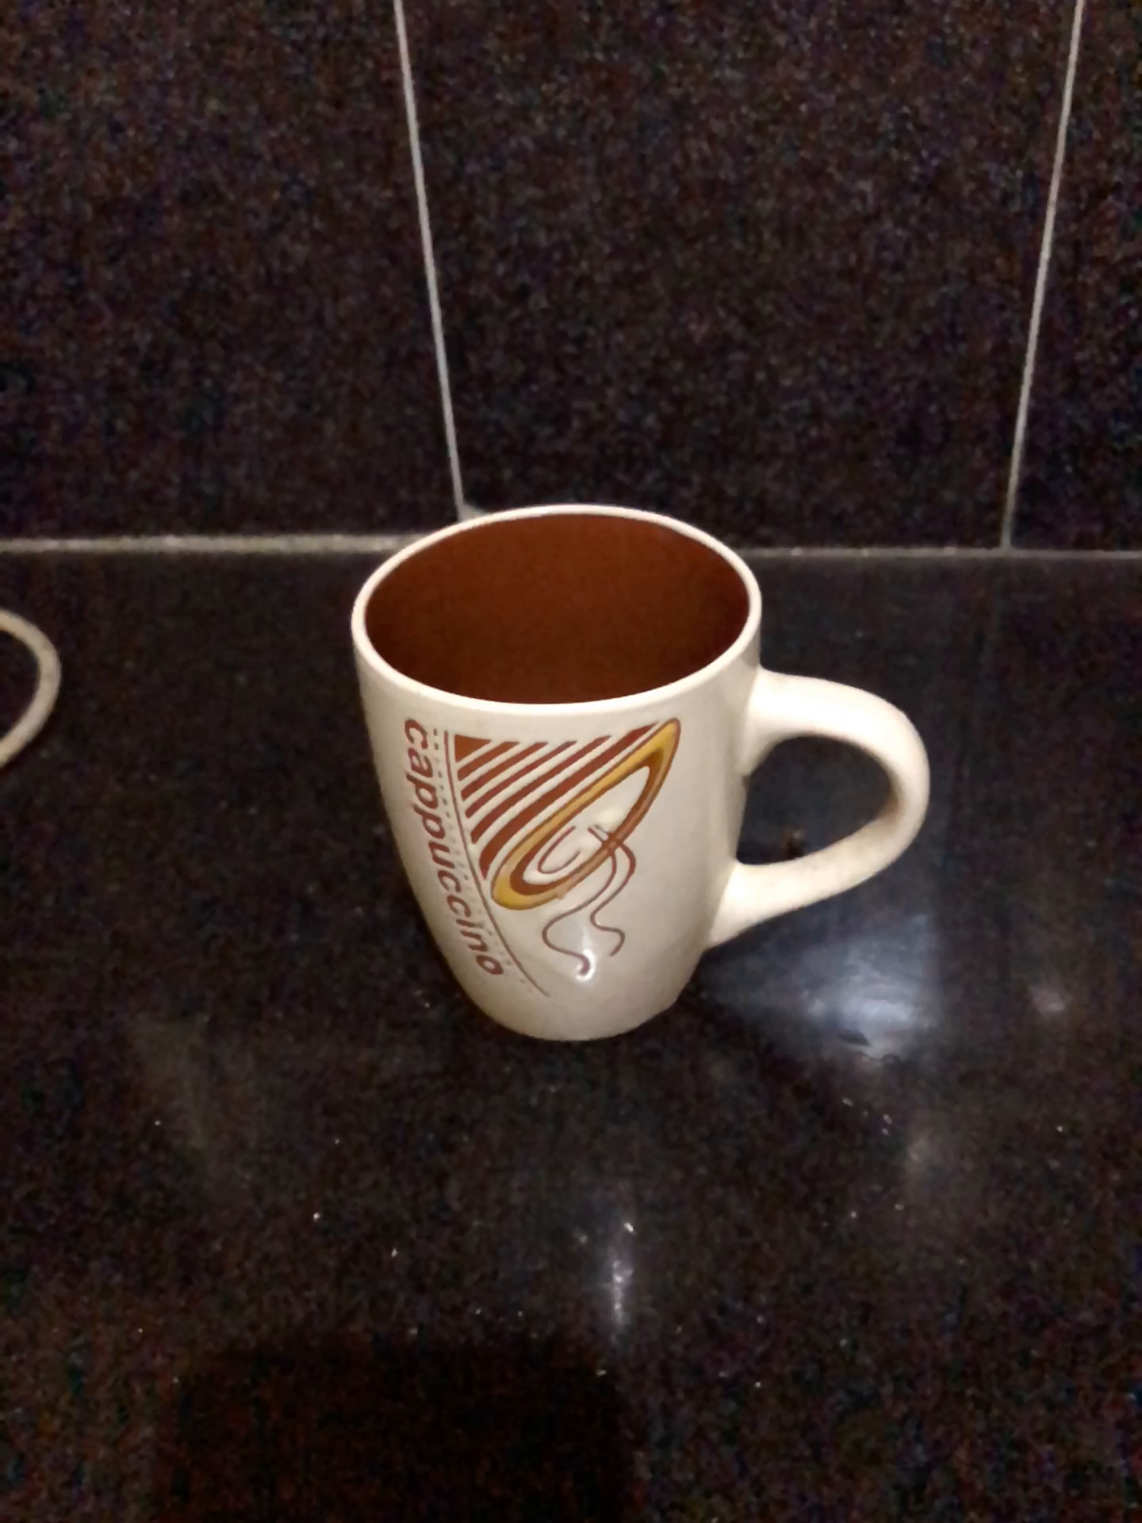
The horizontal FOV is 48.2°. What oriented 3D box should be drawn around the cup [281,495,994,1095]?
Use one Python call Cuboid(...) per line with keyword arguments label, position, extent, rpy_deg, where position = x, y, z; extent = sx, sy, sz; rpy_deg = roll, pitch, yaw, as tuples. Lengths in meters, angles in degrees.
Cuboid(label="cup", position=(0.017, 0.003, 0.277), extent=(0.120, 0.089, 0.091), rpy_deg=(2, 37, 7))
